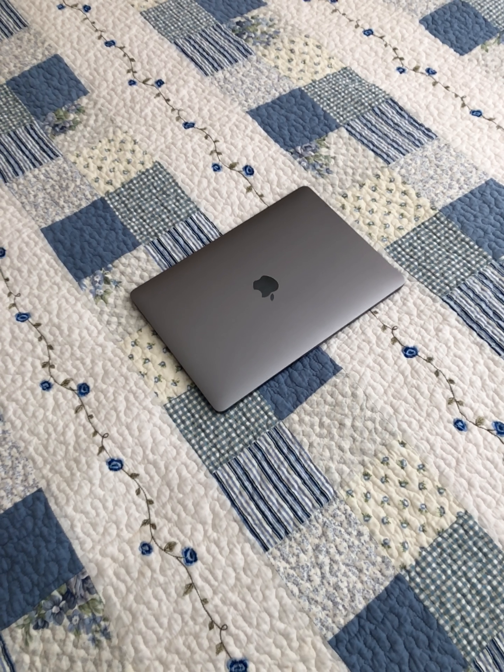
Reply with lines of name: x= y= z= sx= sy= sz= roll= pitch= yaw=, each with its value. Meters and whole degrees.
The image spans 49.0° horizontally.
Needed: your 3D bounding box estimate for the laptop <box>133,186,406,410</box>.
laptop: x=0.022 y=-0.064 z=0.715 sx=0.290 sy=0.005 sz=0.202 roll=-34 pitch=66 yaw=-15
